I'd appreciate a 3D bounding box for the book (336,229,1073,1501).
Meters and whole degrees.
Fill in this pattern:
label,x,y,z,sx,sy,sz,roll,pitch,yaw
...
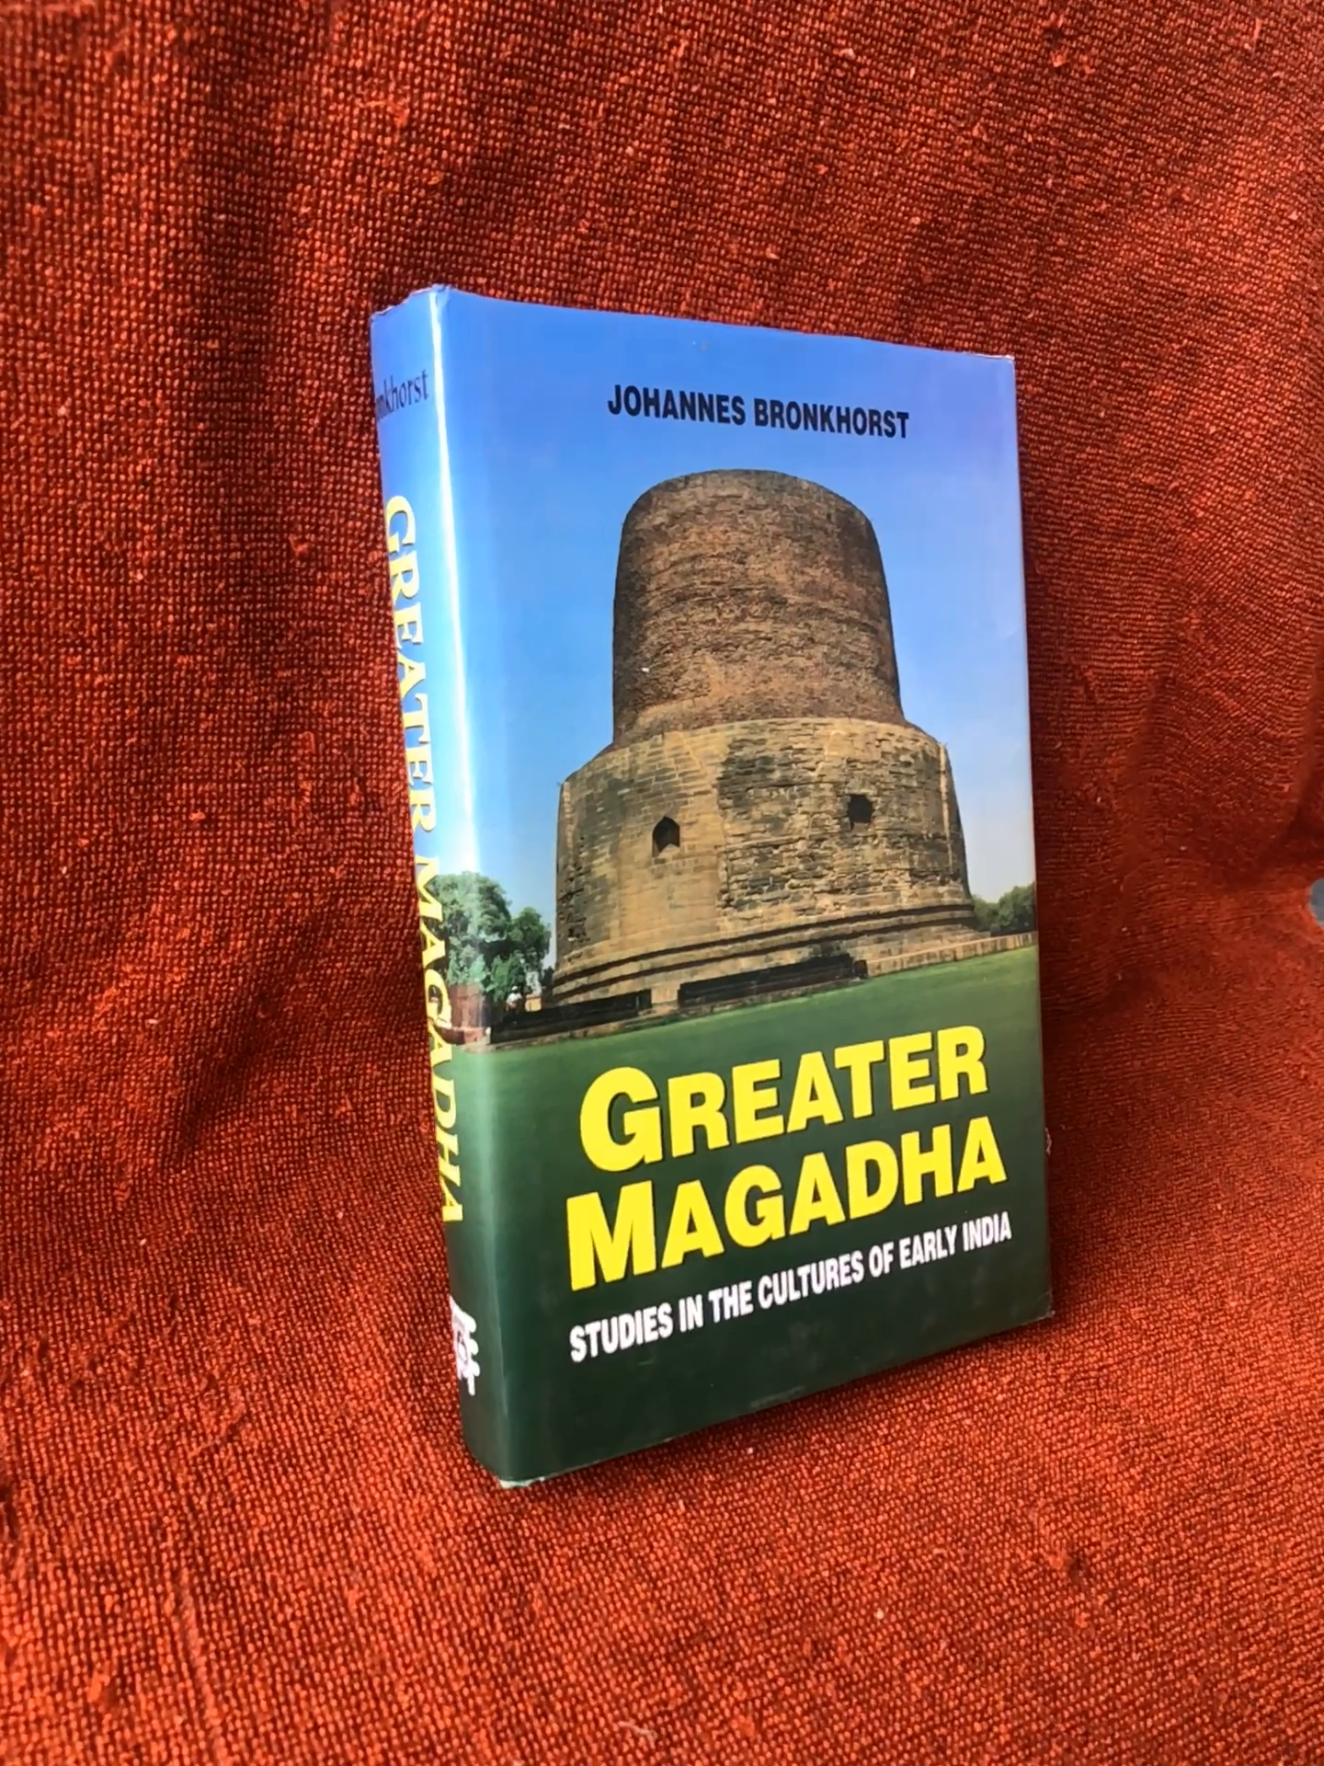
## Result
label,x,y,z,sx,sy,sz,roll,pitch,yaw
book,0.017,-0.007,0.304,0.151,0.220,0.030,-5,5,-30
